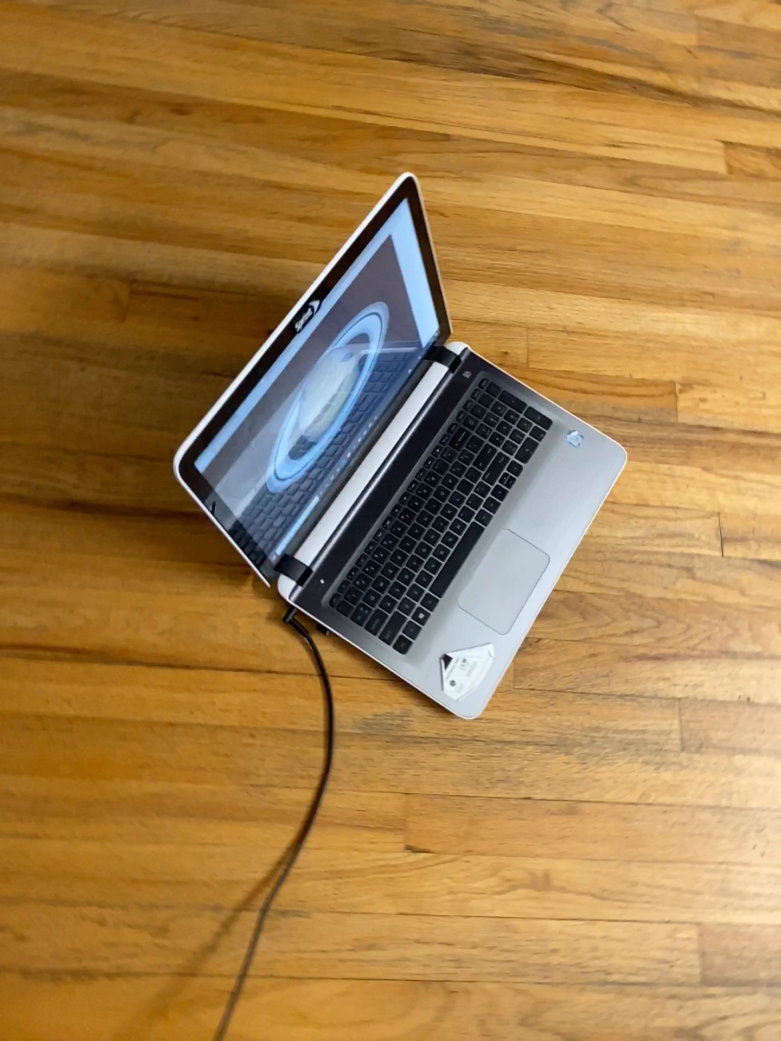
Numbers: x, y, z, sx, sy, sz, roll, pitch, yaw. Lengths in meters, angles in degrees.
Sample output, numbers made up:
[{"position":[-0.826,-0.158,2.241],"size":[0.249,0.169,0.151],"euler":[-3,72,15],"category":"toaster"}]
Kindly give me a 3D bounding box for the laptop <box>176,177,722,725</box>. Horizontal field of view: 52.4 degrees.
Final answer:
[{"position":[0.058,-0.061,0.810],"size":[0.363,0.202,0.371],"euler":[34,71,2],"category":"laptop"}]
